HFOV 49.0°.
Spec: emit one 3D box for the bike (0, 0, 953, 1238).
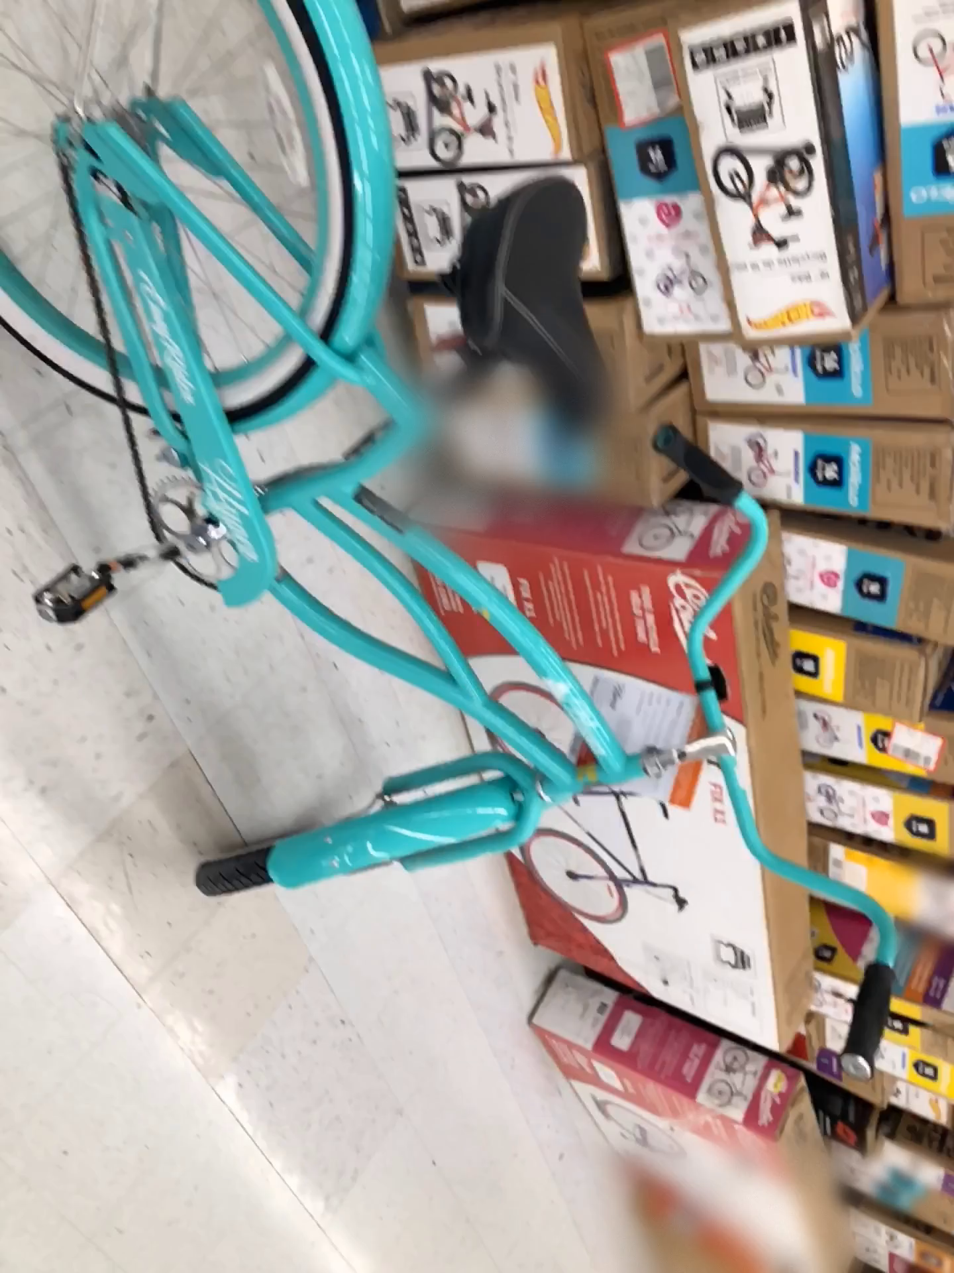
[{"bbox_3d":[-0.001,-0.206,1.277,0.853,1.152,1.587,-56,137,-29],"label":"bike"}]
